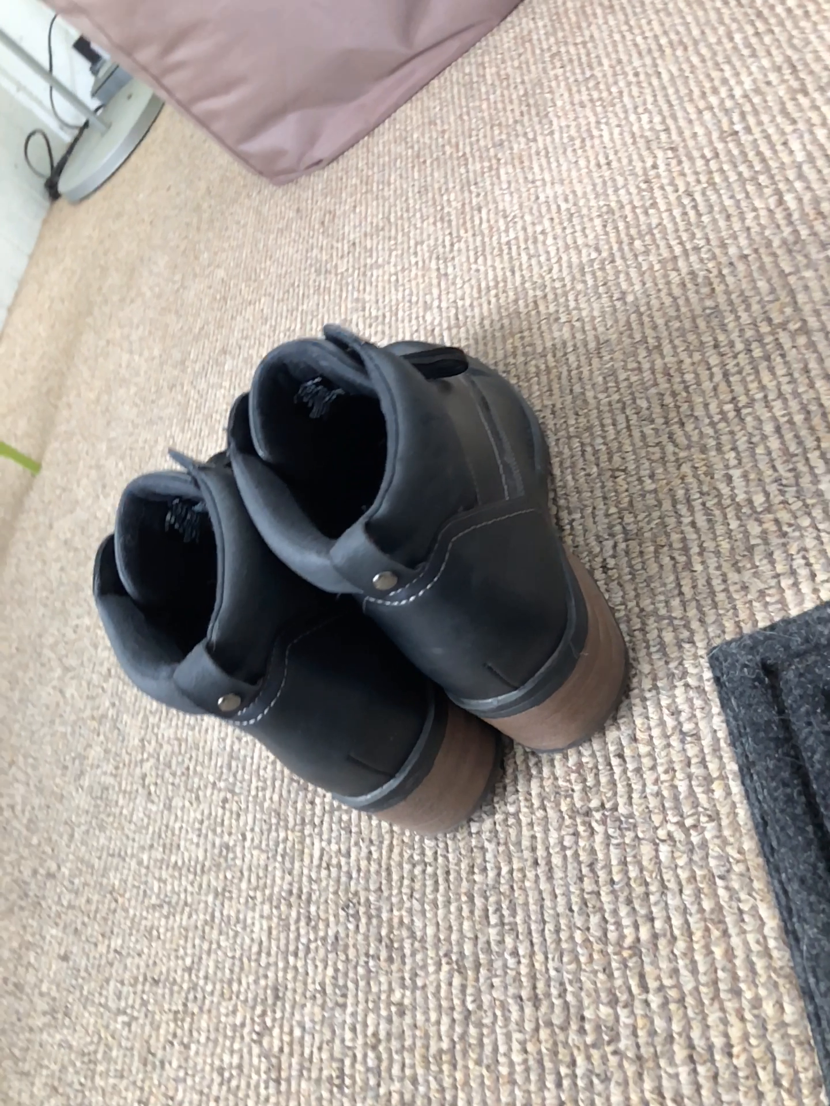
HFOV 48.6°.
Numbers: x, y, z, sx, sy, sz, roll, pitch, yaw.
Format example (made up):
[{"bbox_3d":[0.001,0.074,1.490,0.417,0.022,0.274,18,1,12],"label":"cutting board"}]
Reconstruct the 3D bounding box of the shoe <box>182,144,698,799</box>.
[{"bbox_3d":[-0.007,-0.051,0.425,0.094,0.162,0.274,-39,40,17],"label":"shoe"}]

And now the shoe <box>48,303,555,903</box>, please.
[{"bbox_3d":[-0.072,0.010,0.451,0.097,0.165,0.268,-45,39,10],"label":"shoe"}]
